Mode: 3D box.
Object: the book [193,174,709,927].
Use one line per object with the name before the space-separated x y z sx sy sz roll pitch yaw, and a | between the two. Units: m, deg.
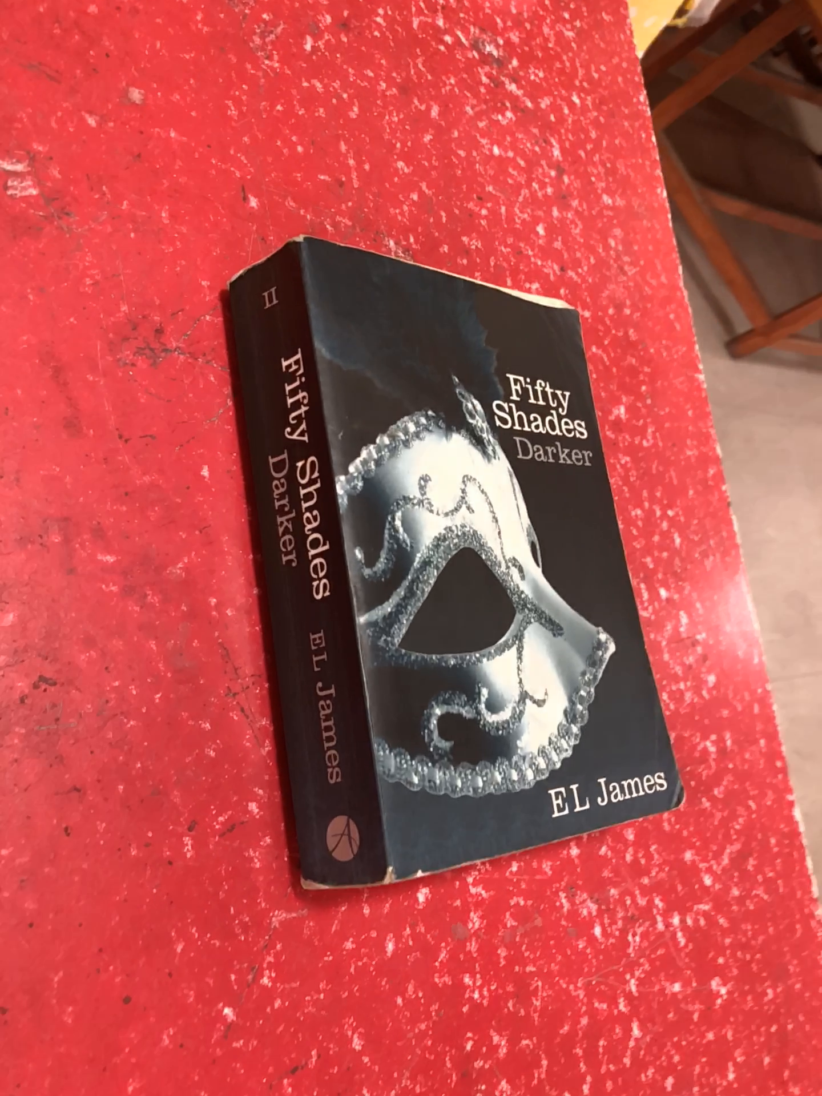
book | 0.014 -0.001 0.309 0.141 0.050 0.210 1 73 -39
